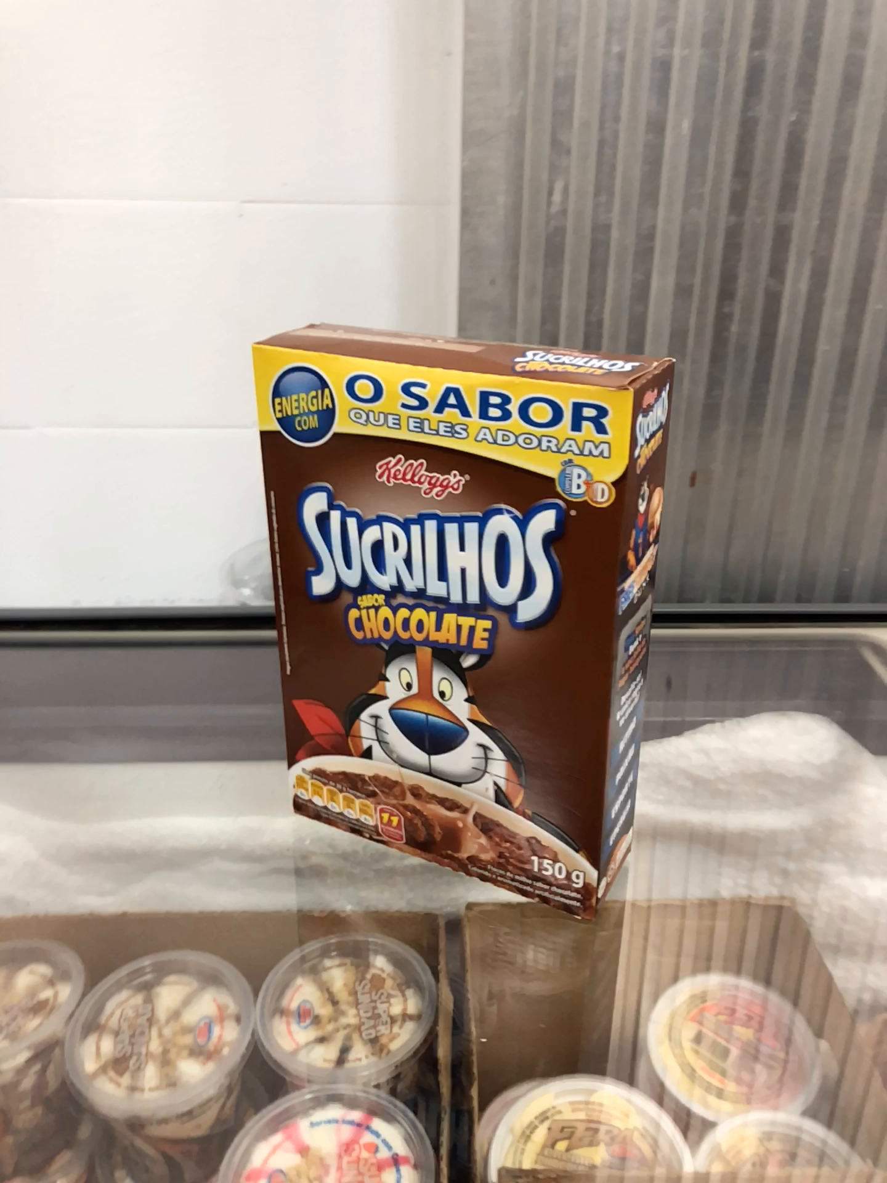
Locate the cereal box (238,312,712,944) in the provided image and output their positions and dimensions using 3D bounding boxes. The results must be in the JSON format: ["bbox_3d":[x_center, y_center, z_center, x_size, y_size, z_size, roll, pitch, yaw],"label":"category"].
[{"bbox_3d":[0.008,0.012,0.371,0.150,0.209,0.050,12,28,24],"label":"cereal box"}]
